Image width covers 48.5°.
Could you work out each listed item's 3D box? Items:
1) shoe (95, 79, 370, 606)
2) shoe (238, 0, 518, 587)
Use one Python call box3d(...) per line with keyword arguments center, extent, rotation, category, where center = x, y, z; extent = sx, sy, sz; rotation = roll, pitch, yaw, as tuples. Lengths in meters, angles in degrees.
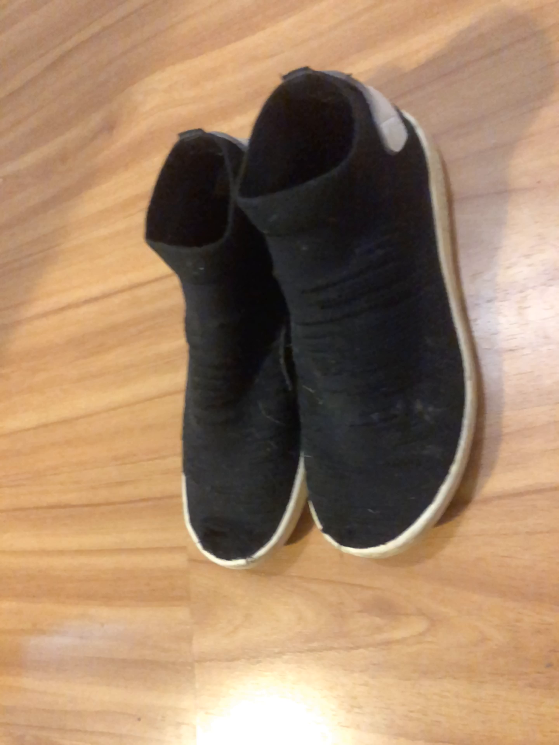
box3d(center=(-0.023, -0.015, 0.372), extent=(0.100, 0.100, 0.260), rotation=(3, 85, 32), category="shoe")
box3d(center=(0.050, -0.038, 0.320), extent=(0.100, 0.100, 0.260), rotation=(-6, 80, 31), category="shoe")
